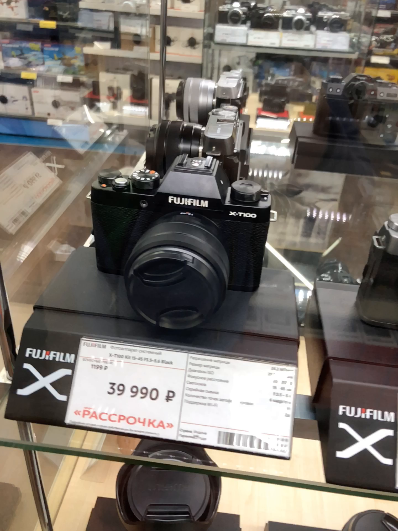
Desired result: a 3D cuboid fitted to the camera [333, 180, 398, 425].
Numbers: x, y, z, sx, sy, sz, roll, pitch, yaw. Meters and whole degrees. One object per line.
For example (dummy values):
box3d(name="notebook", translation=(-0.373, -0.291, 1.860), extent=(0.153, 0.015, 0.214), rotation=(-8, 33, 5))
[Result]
box3d(name="camera", translation=(0.150, 0.014, 0.247), extent=(0.120, 0.078, 0.100), rotation=(7, 33, 5))

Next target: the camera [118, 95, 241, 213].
box3d(name="camera", translation=(-0.013, -0.114, 0.432), extent=(0.100, 0.069, 0.121), rotation=(6, 33, 3))

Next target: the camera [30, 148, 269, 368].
box3d(name="camera", translation=(-0.023, -0.010, 0.284), extent=(0.120, 0.089, 0.096), rotation=(8, 33, 6))
